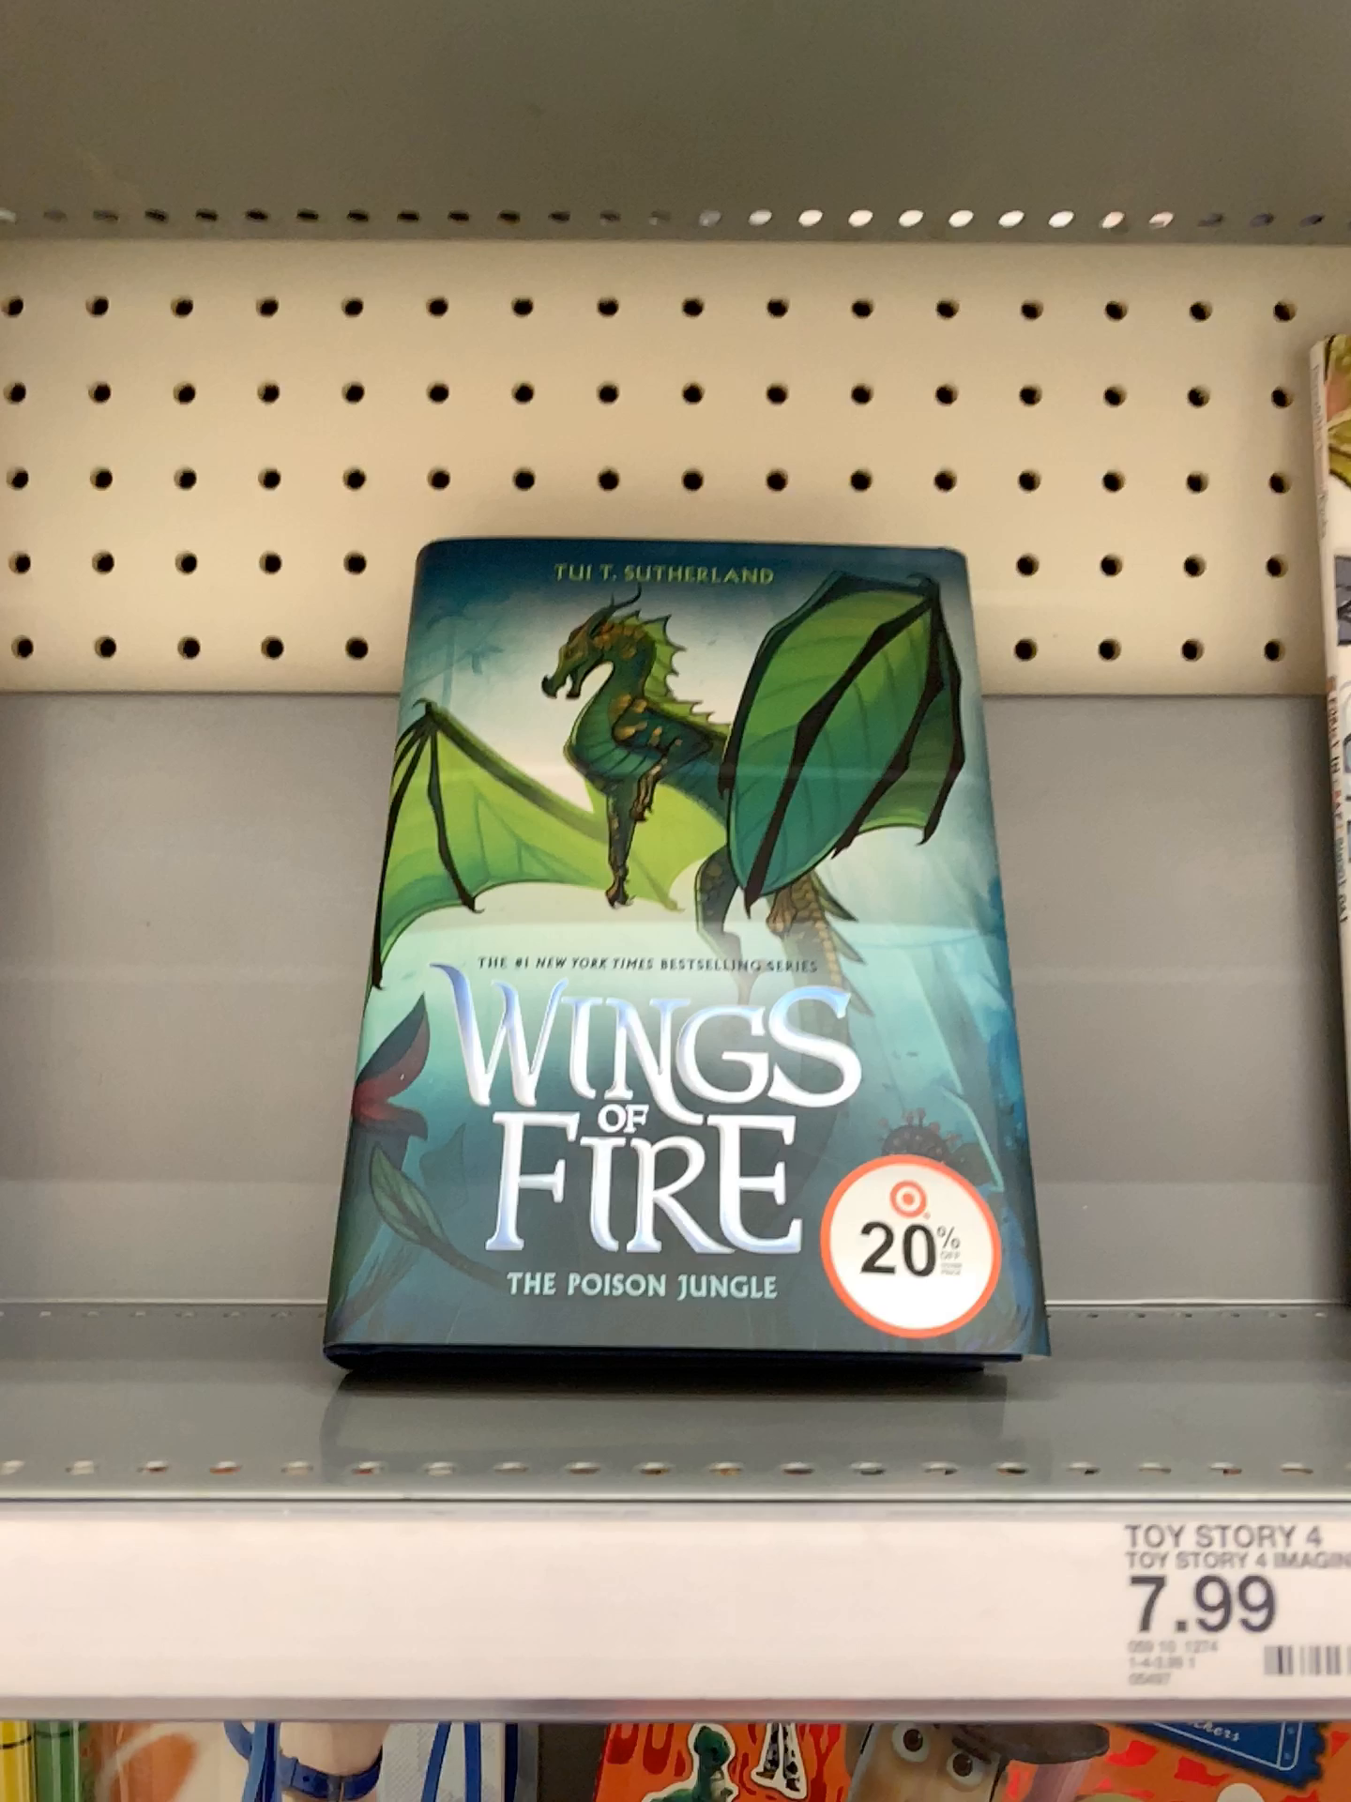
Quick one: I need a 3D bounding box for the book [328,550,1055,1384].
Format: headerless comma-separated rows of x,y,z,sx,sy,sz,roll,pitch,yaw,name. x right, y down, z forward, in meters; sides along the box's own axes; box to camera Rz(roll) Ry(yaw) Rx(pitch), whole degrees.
0.005,0.006,0.354,0.150,0.216,0.035,0,-28,1,book
